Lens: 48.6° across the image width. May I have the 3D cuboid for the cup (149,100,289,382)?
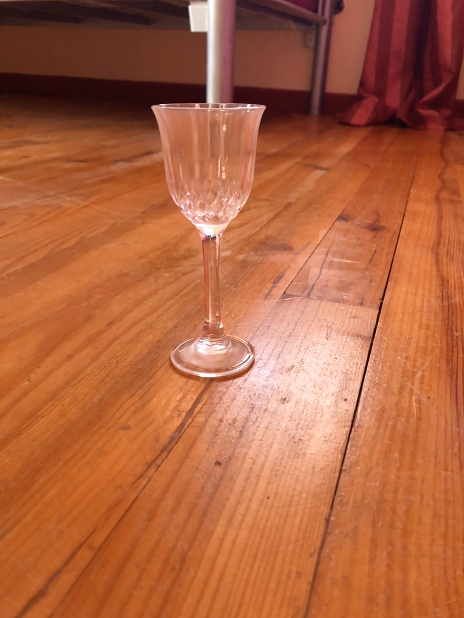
[{"bbox_3d":[-0.009,-0.037,0.271,0.058,0.133,0.061,0,24,0],"label":"cup"}]
